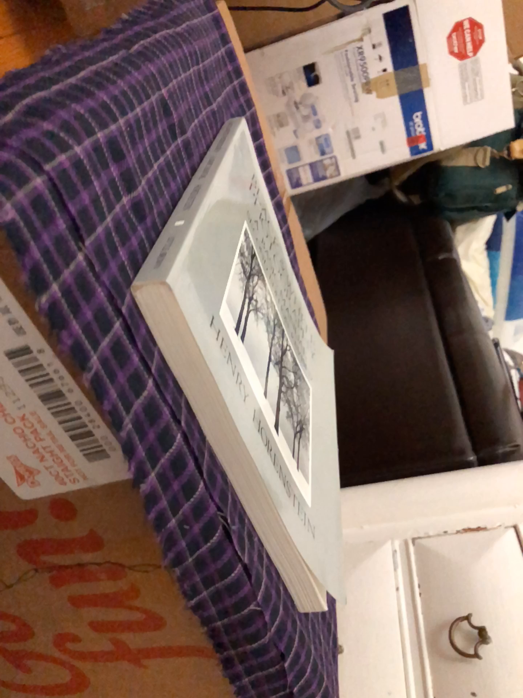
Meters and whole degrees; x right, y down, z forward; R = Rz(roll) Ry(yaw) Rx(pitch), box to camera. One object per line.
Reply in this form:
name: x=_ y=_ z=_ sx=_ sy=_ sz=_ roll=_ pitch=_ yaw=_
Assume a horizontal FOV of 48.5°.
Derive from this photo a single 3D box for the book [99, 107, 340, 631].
book: x=0.004 y=-0.008 z=0.352 sx=0.251 sy=0.030 sz=0.210 roll=-81 pitch=153 yaw=-55
